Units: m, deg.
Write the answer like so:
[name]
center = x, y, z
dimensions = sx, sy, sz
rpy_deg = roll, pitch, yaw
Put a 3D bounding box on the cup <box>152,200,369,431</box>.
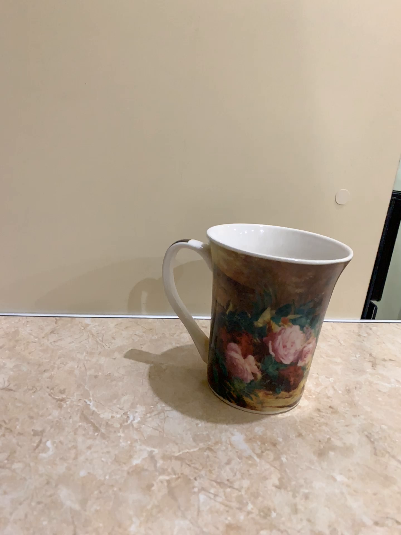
[cup]
center = 0.040, 0.019, 0.269
dimensions = 0.101, 0.096, 0.095
rpy_deg = 5, 20, -2
